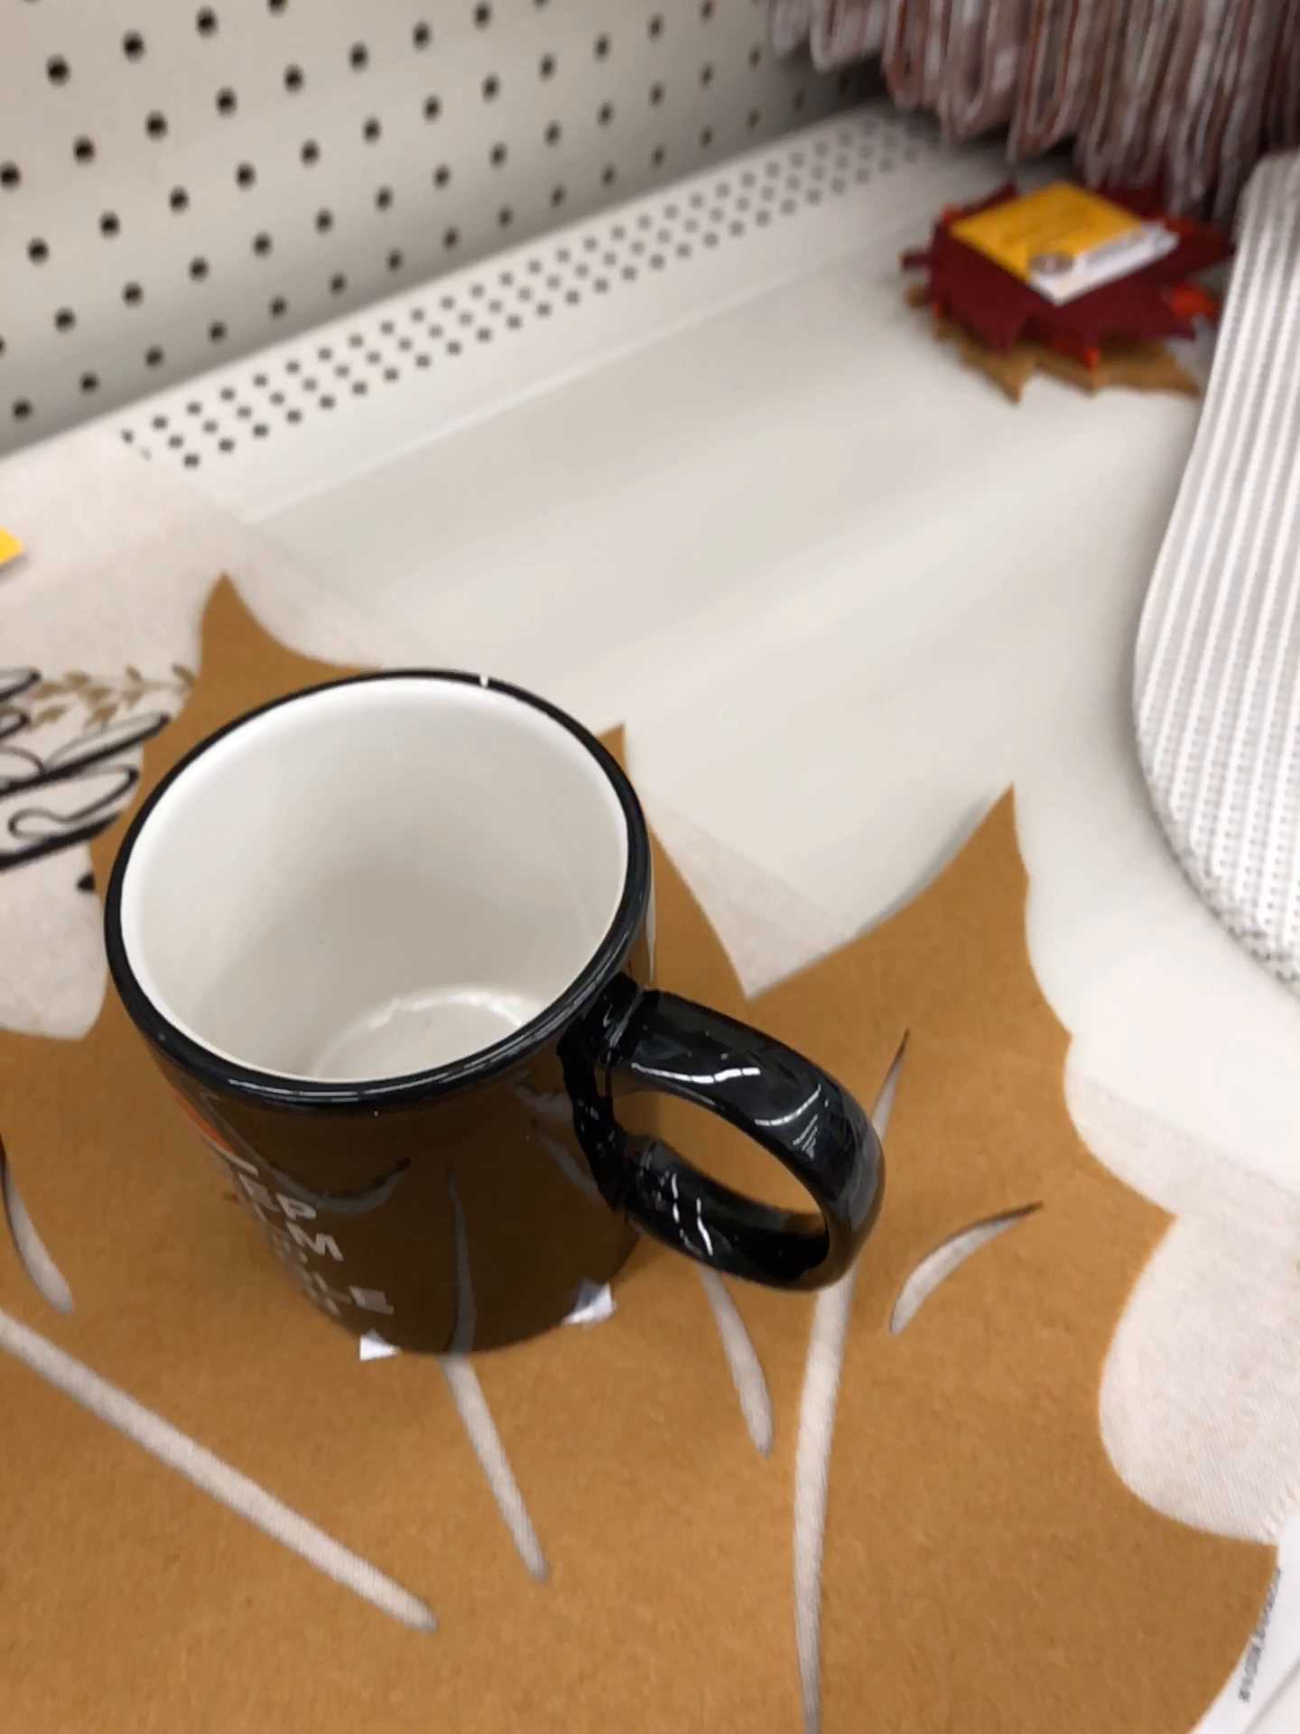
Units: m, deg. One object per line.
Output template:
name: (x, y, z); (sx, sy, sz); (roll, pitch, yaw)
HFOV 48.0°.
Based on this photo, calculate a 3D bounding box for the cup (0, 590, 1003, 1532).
cup: (-0.020, 0.036, 0.270); (0.130, 0.110, 0.090); (20, 56, 17)
